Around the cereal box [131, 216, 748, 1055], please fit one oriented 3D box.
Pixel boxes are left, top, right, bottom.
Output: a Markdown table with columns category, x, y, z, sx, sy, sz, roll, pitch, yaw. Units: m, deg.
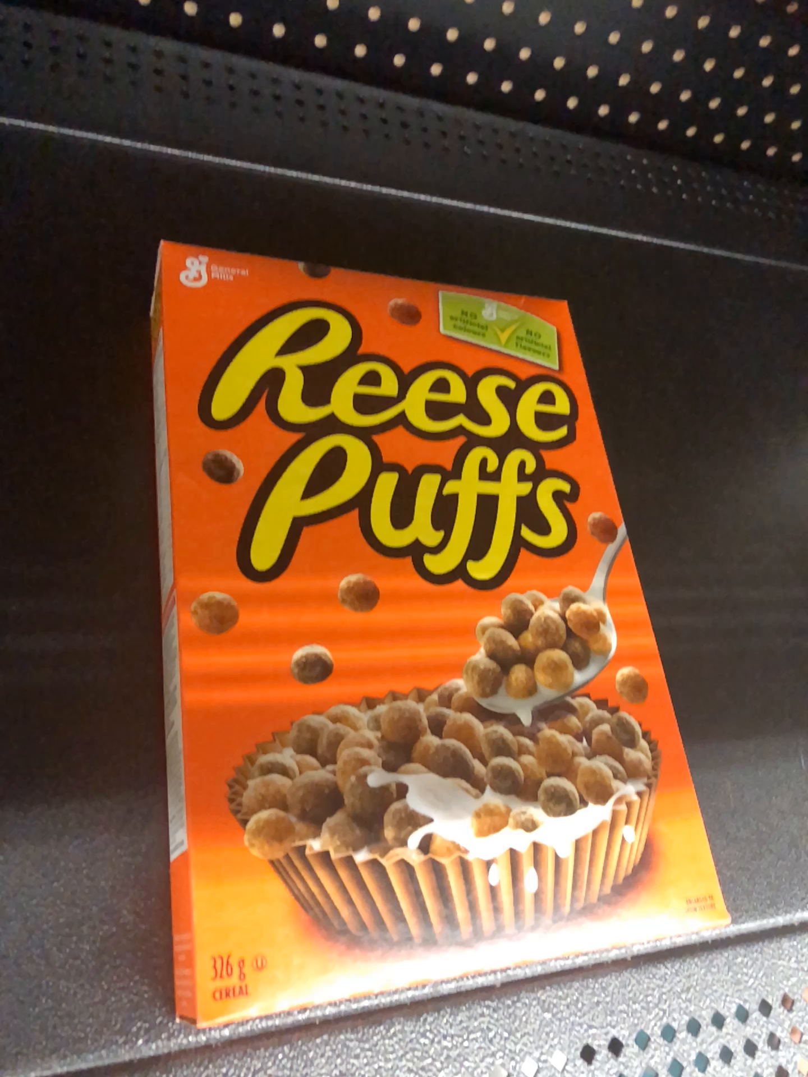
| category | x | y | z | sx | sy | sz | roll | pitch | yaw |
| --- | --- | --- | --- | --- | --- | --- | --- | --- | --- |
| cereal box | 0.001 | 0.018 | 0.354 | 0.200 | 0.050 | 0.291 | 1 | 65 | -23 |
